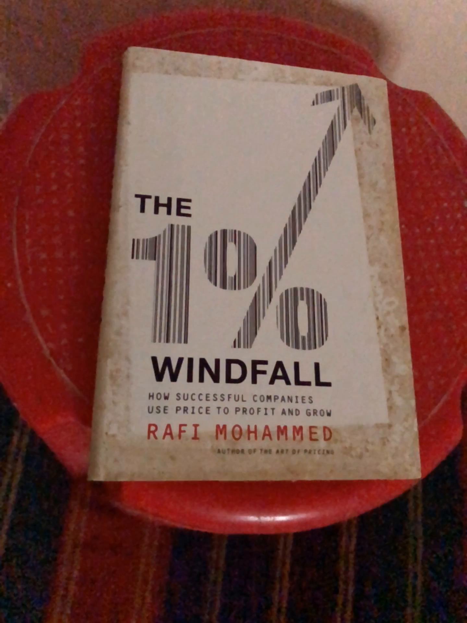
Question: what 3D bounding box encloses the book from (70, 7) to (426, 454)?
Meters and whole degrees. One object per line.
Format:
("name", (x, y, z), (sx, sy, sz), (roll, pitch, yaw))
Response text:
("book", (0.010, -0.050, 0.314), (0.180, 0.040, 0.260), (3, 74, -9))
